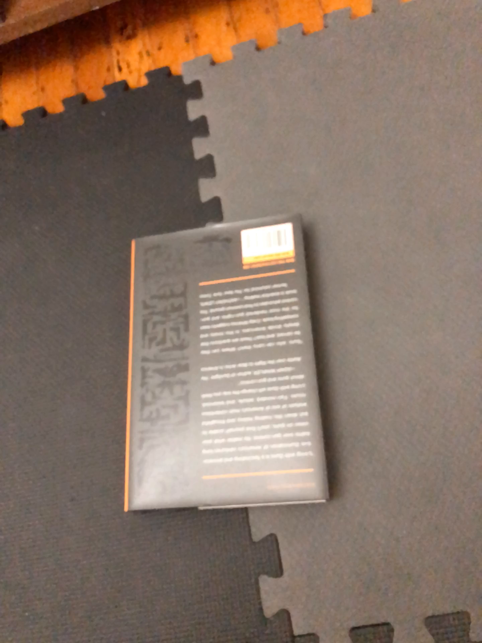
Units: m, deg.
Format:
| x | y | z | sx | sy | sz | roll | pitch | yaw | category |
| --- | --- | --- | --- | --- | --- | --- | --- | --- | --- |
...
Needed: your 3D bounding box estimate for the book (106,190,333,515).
| x | y | z | sx | sy | sz | roll | pitch | yaw | category |
| --- | --- | --- | --- | --- | --- | --- | --- | --- | --- |
| -0.020 | 0.023 | 0.461 | 0.170 | 0.040 | 0.261 | -7 | 68 | 13 | book |
